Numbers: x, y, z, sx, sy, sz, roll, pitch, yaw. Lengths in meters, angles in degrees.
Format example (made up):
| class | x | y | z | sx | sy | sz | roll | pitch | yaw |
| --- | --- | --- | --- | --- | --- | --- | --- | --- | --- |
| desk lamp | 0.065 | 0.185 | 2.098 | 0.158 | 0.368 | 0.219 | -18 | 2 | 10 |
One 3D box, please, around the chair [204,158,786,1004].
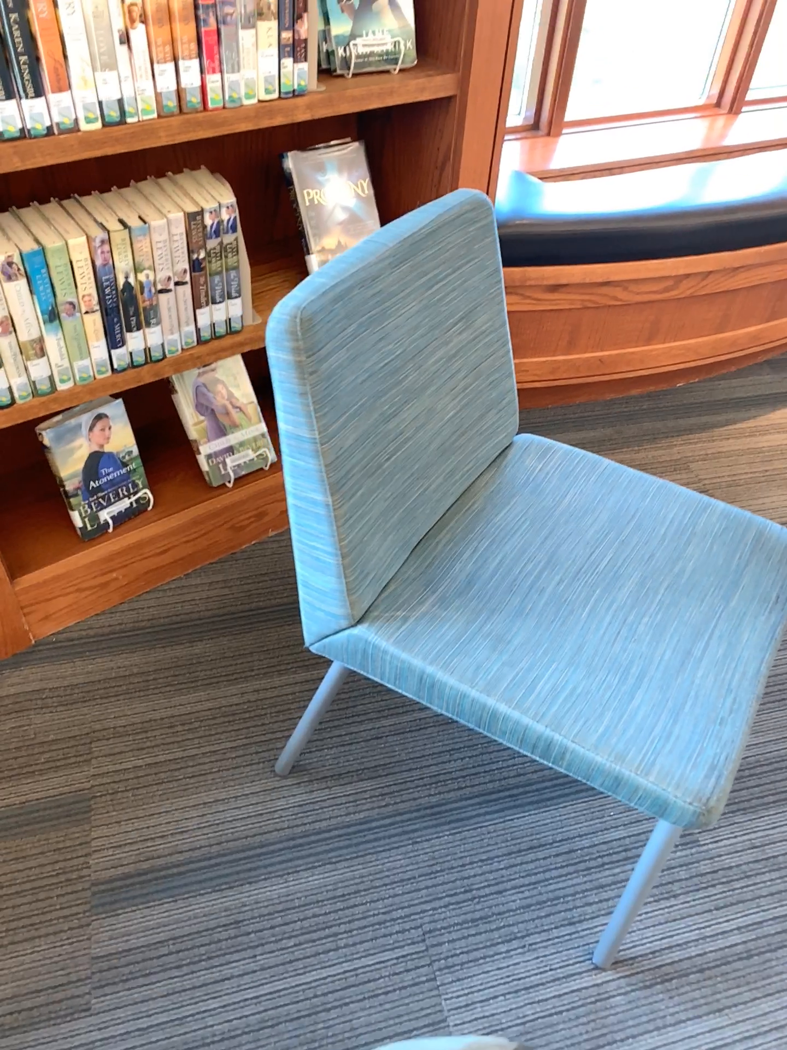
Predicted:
| class | x | y | z | sx | sy | sz | roll | pitch | yaw |
| --- | --- | --- | --- | --- | --- | --- | --- | --- | --- |
| chair | 0.202 | 0.069 | 1.058 | 0.591 | 0.787 | 0.552 | 25 | 47 | 21 |
